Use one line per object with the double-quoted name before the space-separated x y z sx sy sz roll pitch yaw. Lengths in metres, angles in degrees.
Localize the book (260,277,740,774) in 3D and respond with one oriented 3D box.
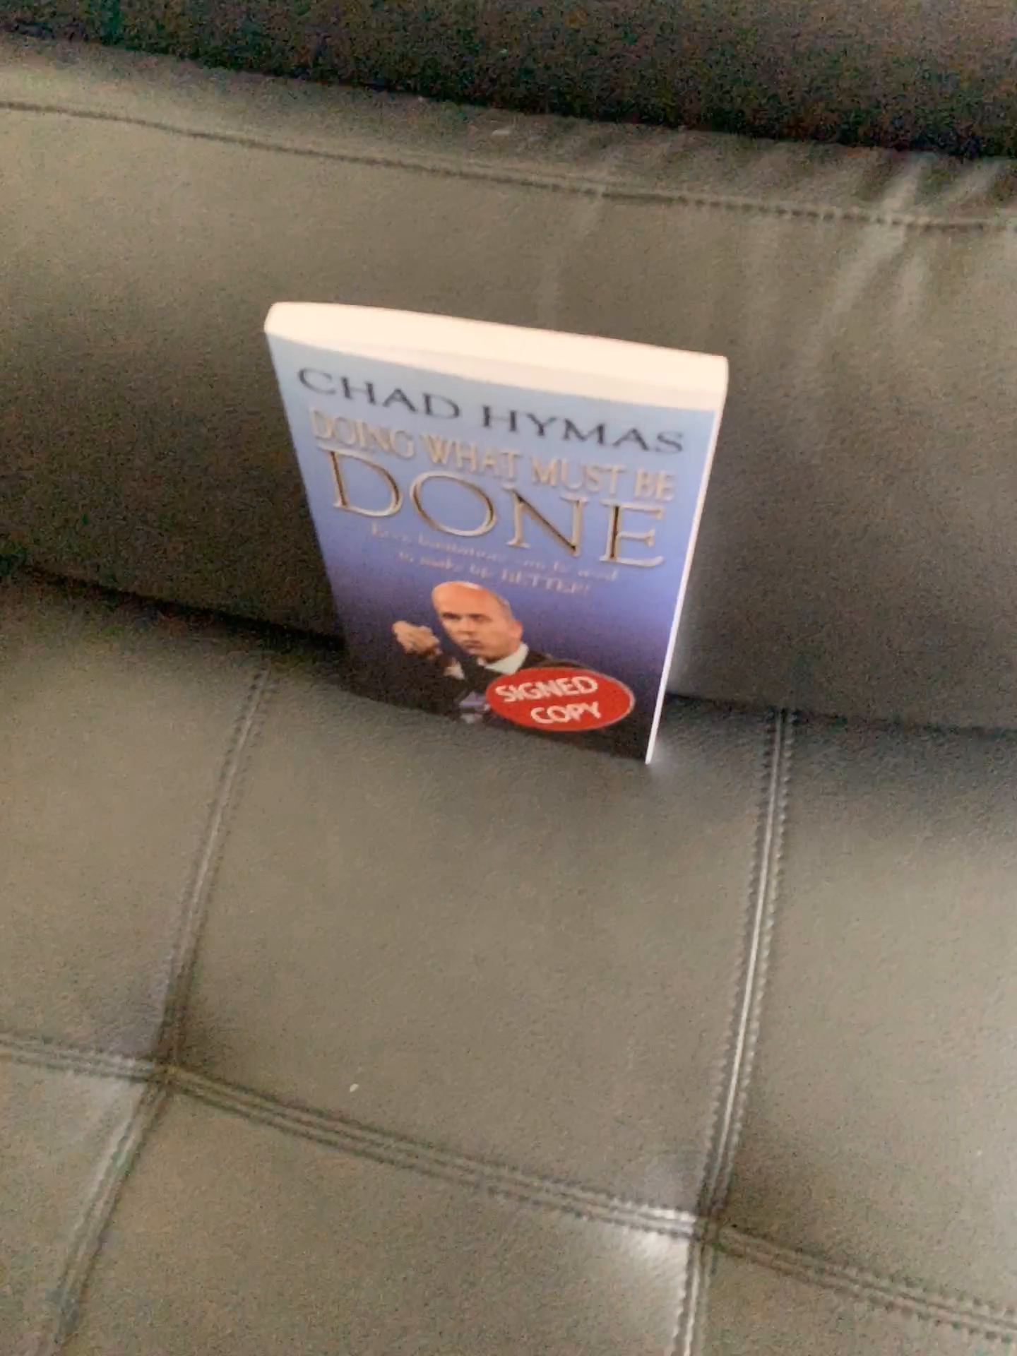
"book" -0.005 -0.046 0.430 0.157 0.225 0.025 14 56 9
